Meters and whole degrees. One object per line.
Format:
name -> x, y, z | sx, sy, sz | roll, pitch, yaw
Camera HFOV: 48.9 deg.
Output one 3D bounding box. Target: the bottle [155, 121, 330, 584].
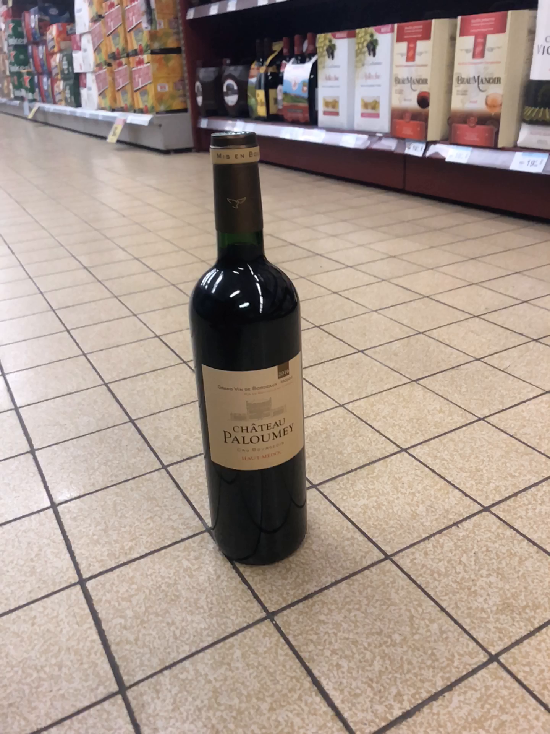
bottle -> -0.018, -0.005, 0.407 | 0.080, 0.288, 0.090 | -9, 26, -13
